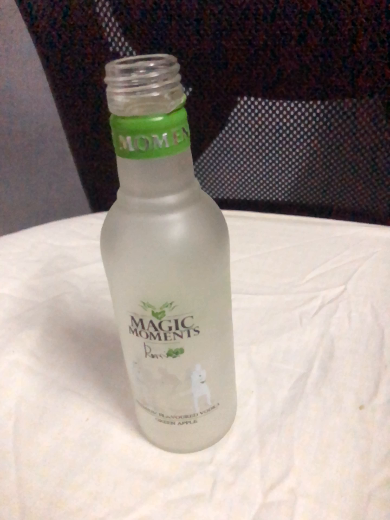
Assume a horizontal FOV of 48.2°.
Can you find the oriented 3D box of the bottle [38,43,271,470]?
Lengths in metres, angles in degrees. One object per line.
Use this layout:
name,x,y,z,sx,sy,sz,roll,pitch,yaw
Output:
bottle,-0.003,0.010,0.179,0.060,0.169,0.050,3,34,11
